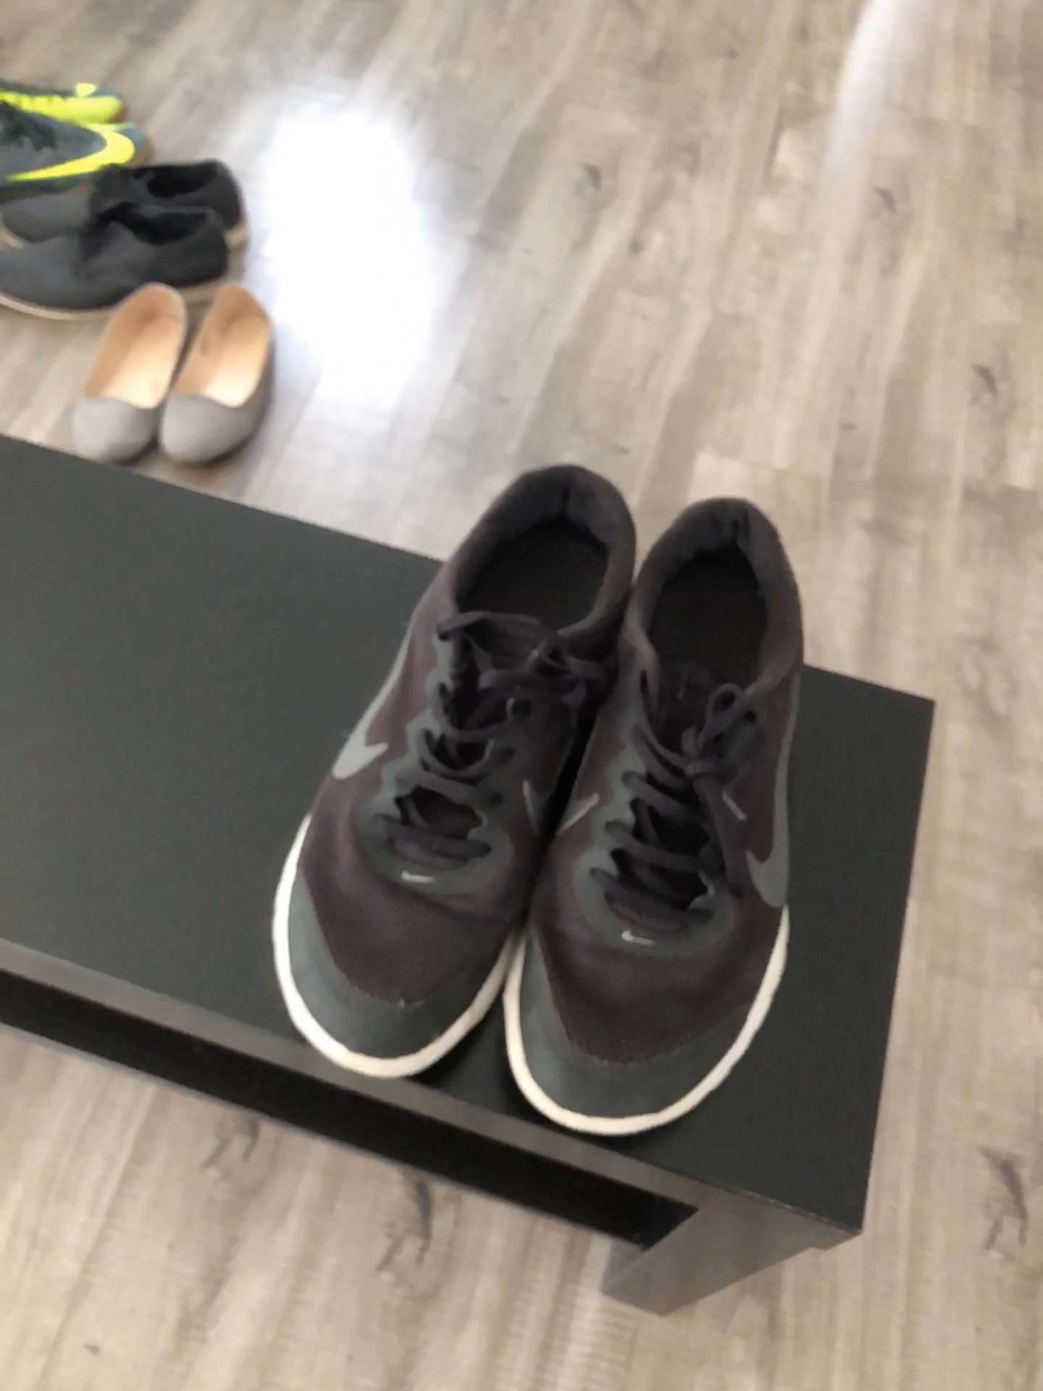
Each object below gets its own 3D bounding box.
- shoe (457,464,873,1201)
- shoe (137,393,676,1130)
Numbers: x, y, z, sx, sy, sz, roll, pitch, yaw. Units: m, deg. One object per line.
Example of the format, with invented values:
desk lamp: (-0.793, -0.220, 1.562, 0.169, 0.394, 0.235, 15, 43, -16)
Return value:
shoe: (0.066, 0.050, 0.506, 0.110, 0.110, 0.280, 15, 59, 5)
shoe: (-0.033, 0.019, 0.497, 0.110, 0.100, 0.280, 19, 61, 7)
